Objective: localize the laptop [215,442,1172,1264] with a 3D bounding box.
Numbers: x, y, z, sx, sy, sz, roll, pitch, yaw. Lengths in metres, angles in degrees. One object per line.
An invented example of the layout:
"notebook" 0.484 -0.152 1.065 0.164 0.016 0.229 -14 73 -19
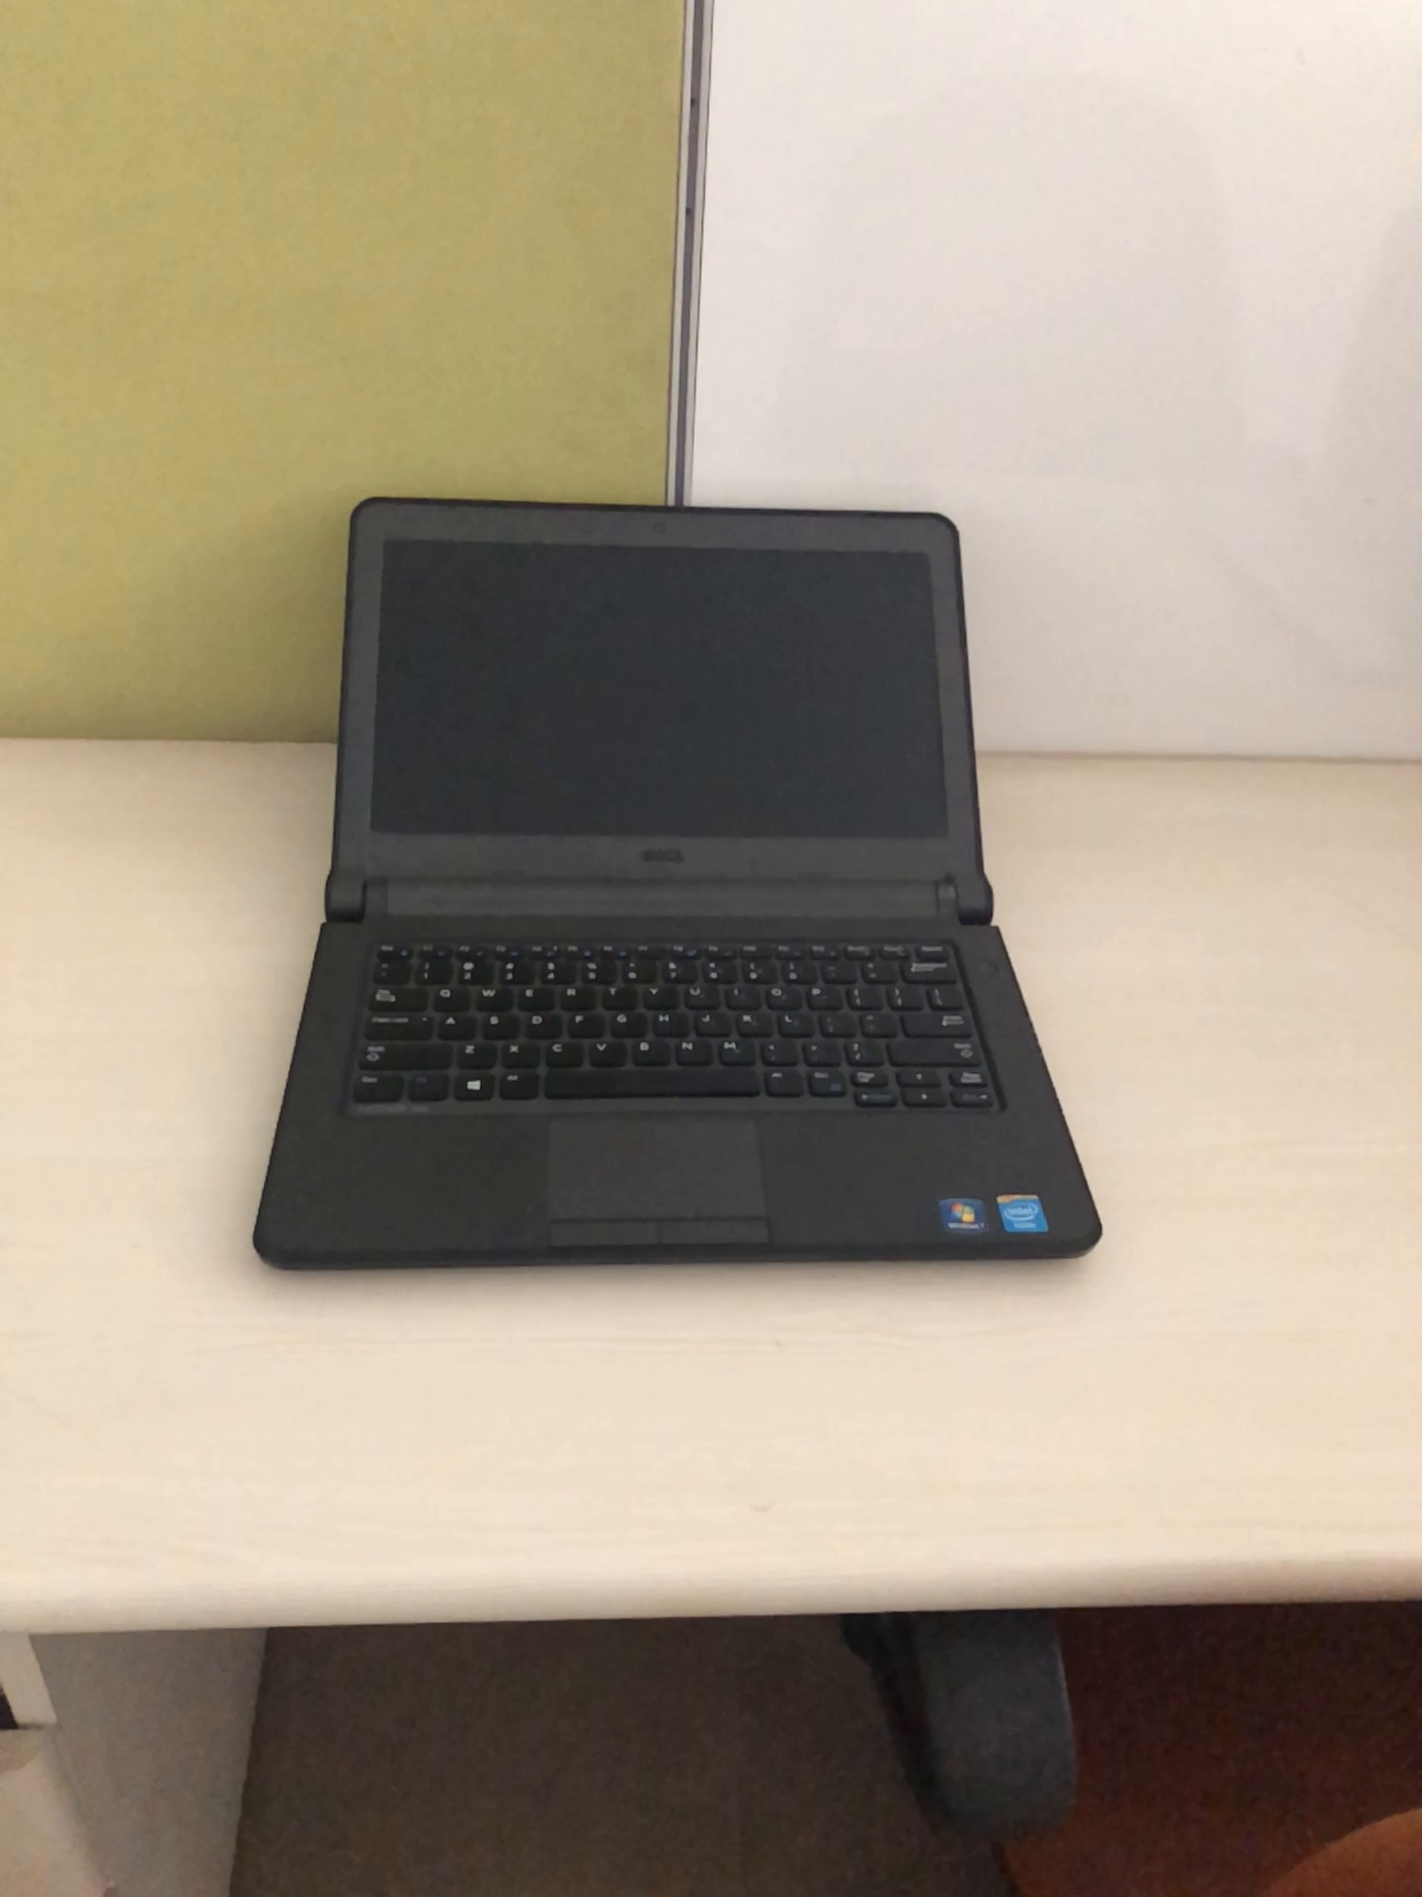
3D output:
"laptop" -0.018 -0.072 0.708 0.316 0.122 0.418 1 41 -5
